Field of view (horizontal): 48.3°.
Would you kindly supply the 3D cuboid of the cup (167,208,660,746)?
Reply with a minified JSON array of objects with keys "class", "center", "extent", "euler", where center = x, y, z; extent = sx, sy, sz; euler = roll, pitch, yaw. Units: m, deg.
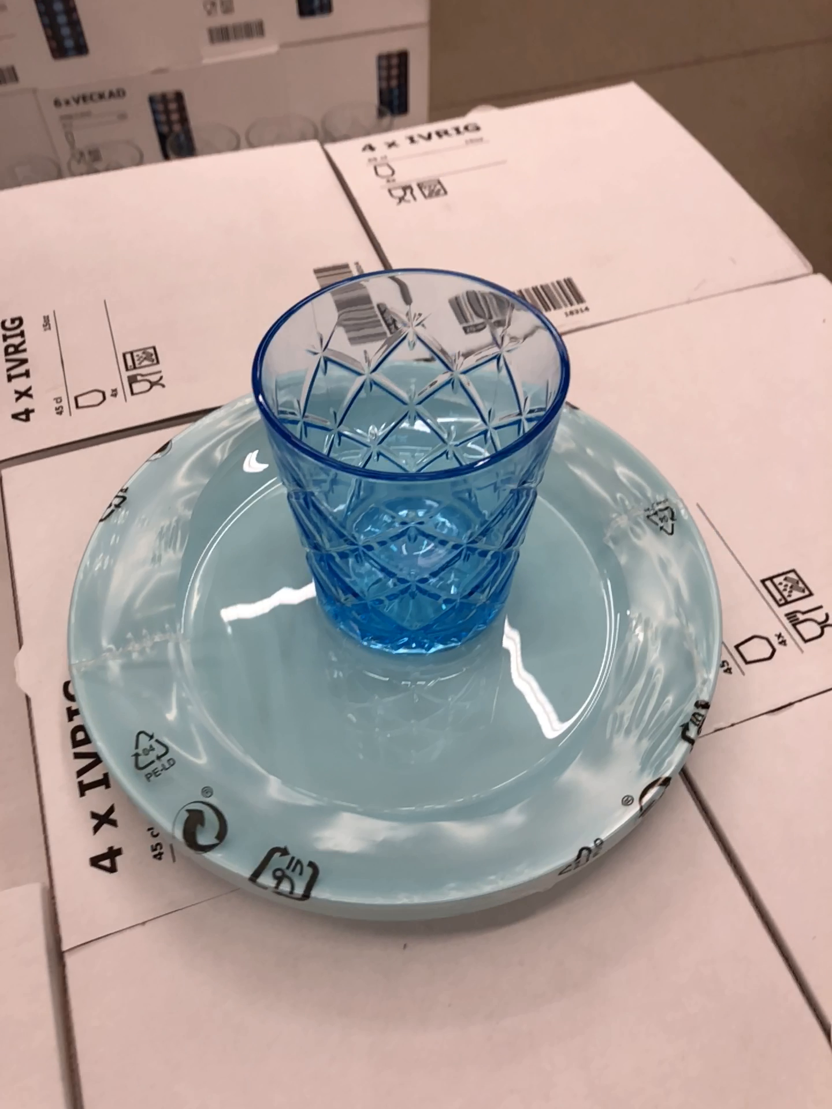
[{"class":"cup","center":[0.000,-0.023,0.279],"extent":[0.090,0.100,0.090],"euler":[-1,53,1]}]
